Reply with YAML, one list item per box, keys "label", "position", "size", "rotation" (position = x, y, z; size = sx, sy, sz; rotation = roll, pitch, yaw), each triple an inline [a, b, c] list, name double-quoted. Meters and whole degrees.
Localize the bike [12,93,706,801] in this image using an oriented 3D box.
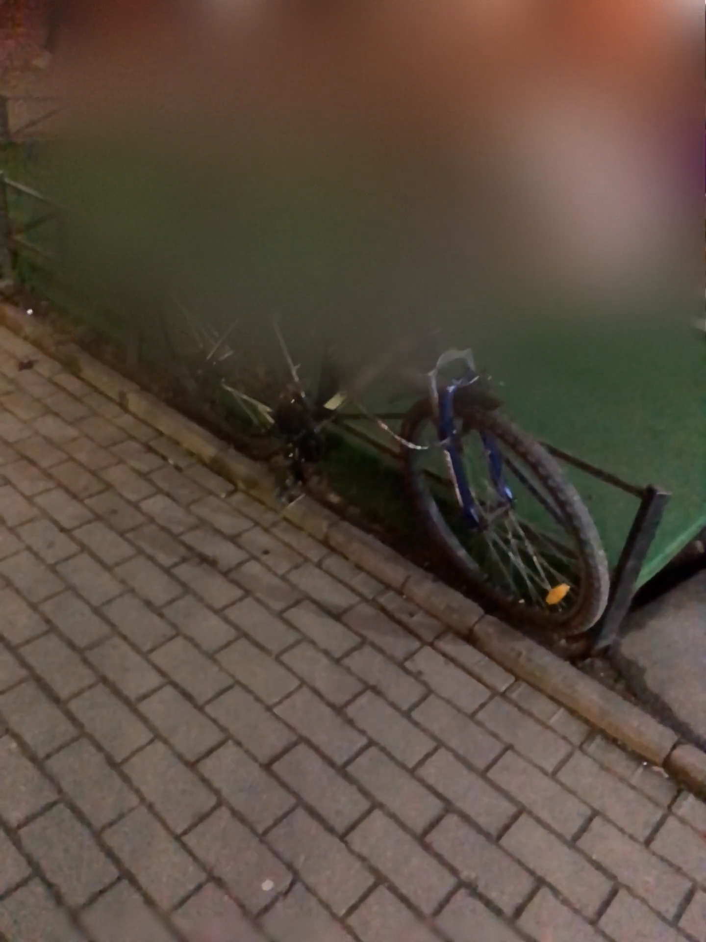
- label: "bike"
  position: [-0.102, -0.200, 1.696]
  size: [1.460, 0.882, 0.531]
  rotation: [33, 39, 33]
